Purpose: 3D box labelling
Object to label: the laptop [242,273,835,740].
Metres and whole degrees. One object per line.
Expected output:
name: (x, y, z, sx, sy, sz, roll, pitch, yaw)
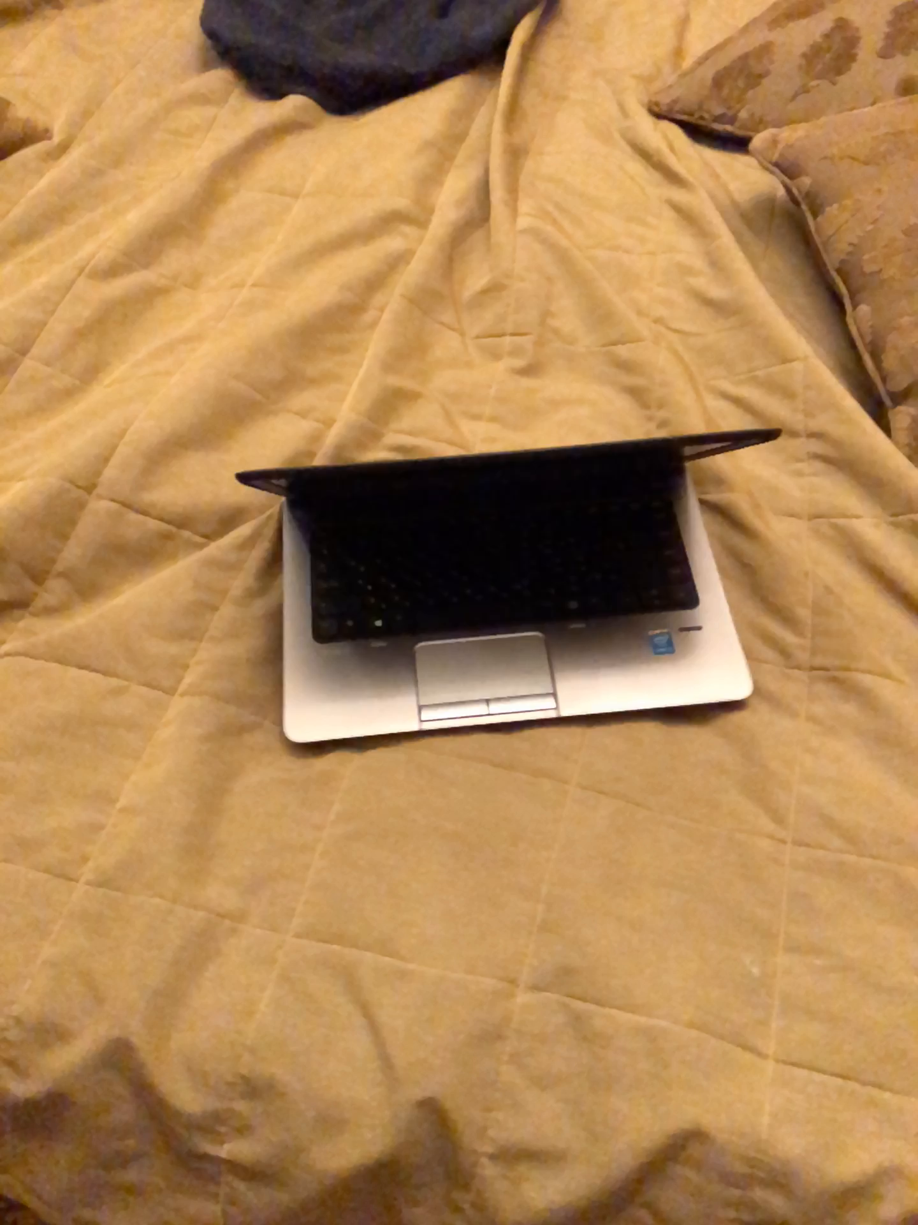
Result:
laptop: (0.035, -0.073, 0.699, 0.331, 0.189, 0.226, -5, 56, -4)
